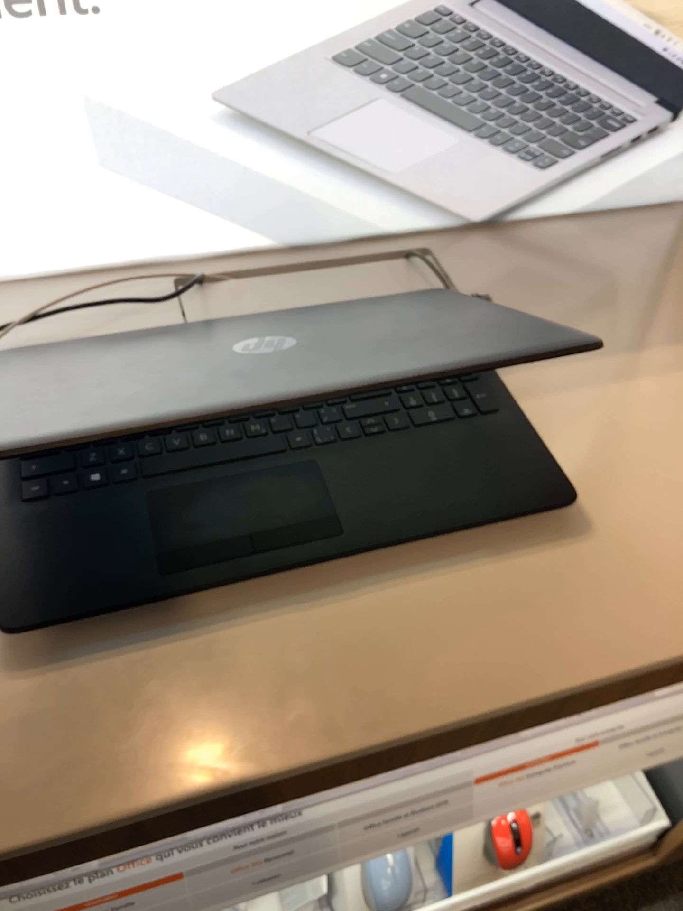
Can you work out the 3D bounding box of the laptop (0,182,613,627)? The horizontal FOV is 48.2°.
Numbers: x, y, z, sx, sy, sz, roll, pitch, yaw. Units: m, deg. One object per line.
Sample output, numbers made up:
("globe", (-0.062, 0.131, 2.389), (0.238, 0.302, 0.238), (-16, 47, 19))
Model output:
("laptop", (-0.052, -0.057, 0.508), (0.352, 0.107, 0.239), (-11, 49, -13))
